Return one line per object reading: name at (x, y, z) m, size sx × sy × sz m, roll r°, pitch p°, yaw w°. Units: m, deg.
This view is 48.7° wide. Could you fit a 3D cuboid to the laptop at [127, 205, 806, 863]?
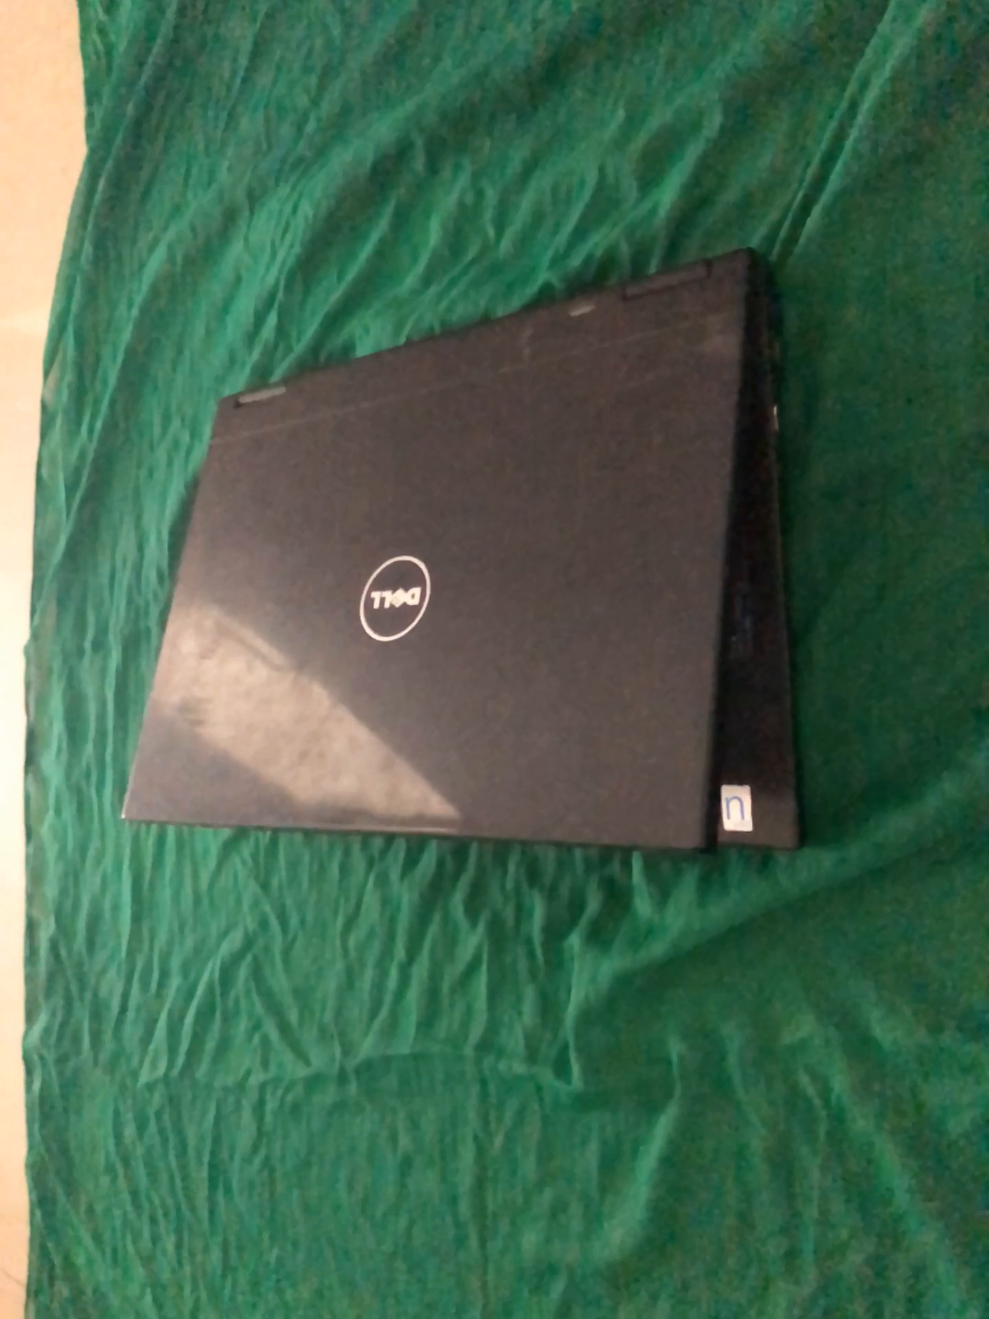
laptop at (-0.030, -0.033, 0.493) m, size 0.307 × 0.066 × 0.226 m, roll -3°, pitch 94°, yaw 36°
